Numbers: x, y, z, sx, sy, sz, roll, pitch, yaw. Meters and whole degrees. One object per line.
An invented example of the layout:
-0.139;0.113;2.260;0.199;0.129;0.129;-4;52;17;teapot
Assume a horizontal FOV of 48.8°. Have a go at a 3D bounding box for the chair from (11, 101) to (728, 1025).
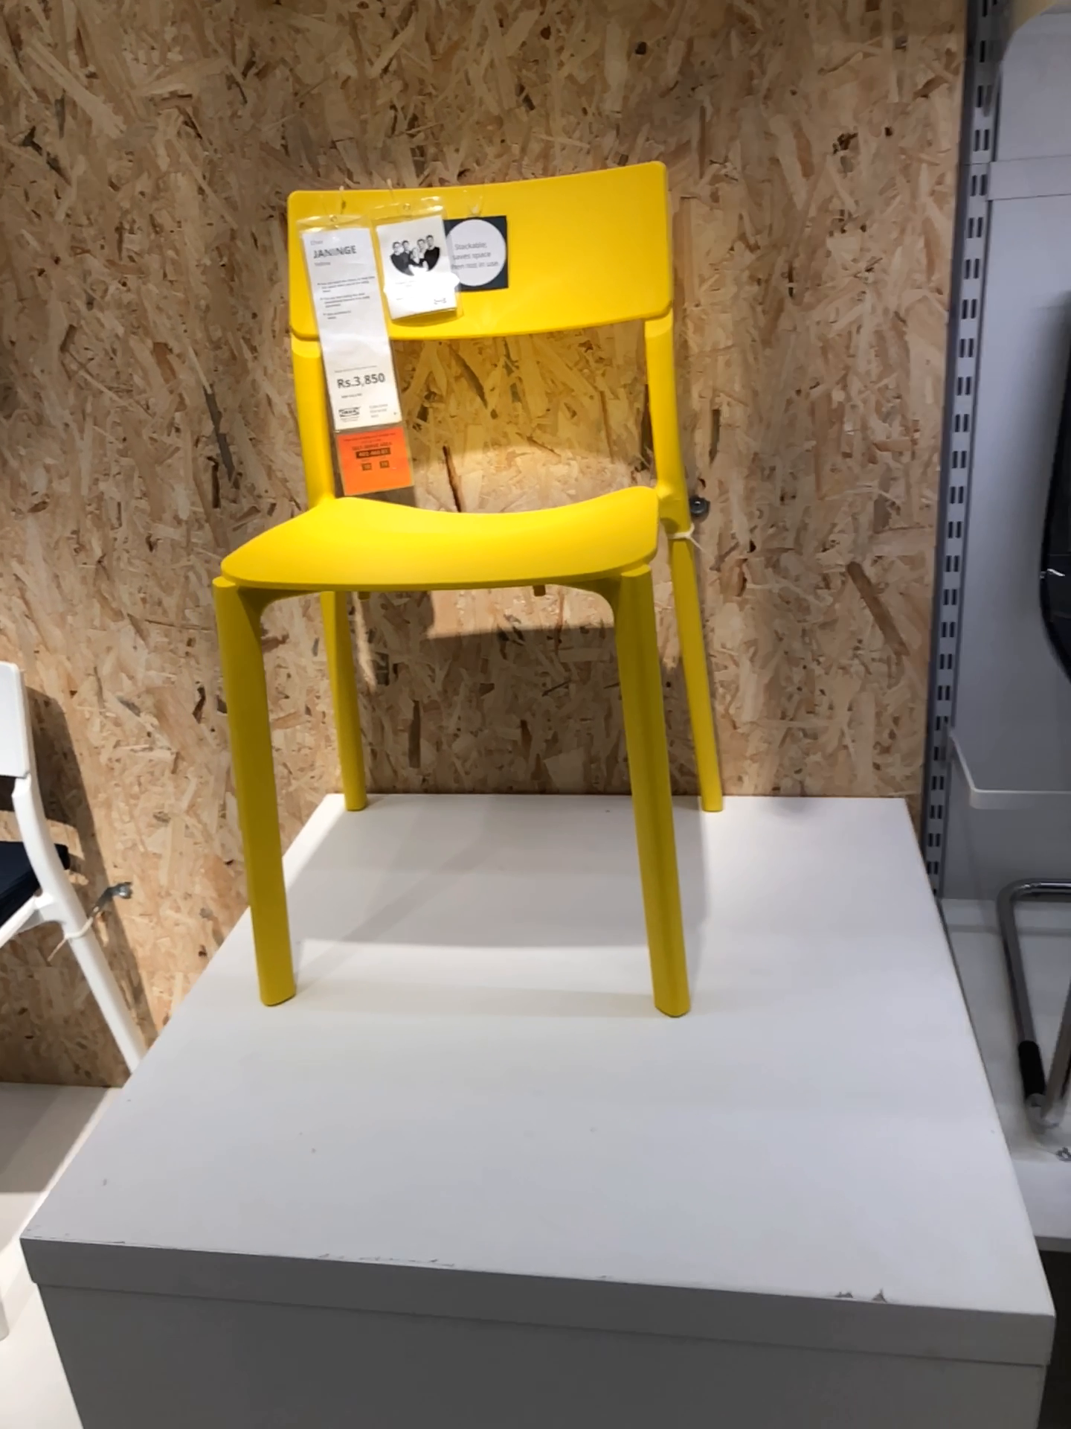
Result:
-0.066;-0.144;1.085;0.460;0.676;0.463;-1;22;9;chair
